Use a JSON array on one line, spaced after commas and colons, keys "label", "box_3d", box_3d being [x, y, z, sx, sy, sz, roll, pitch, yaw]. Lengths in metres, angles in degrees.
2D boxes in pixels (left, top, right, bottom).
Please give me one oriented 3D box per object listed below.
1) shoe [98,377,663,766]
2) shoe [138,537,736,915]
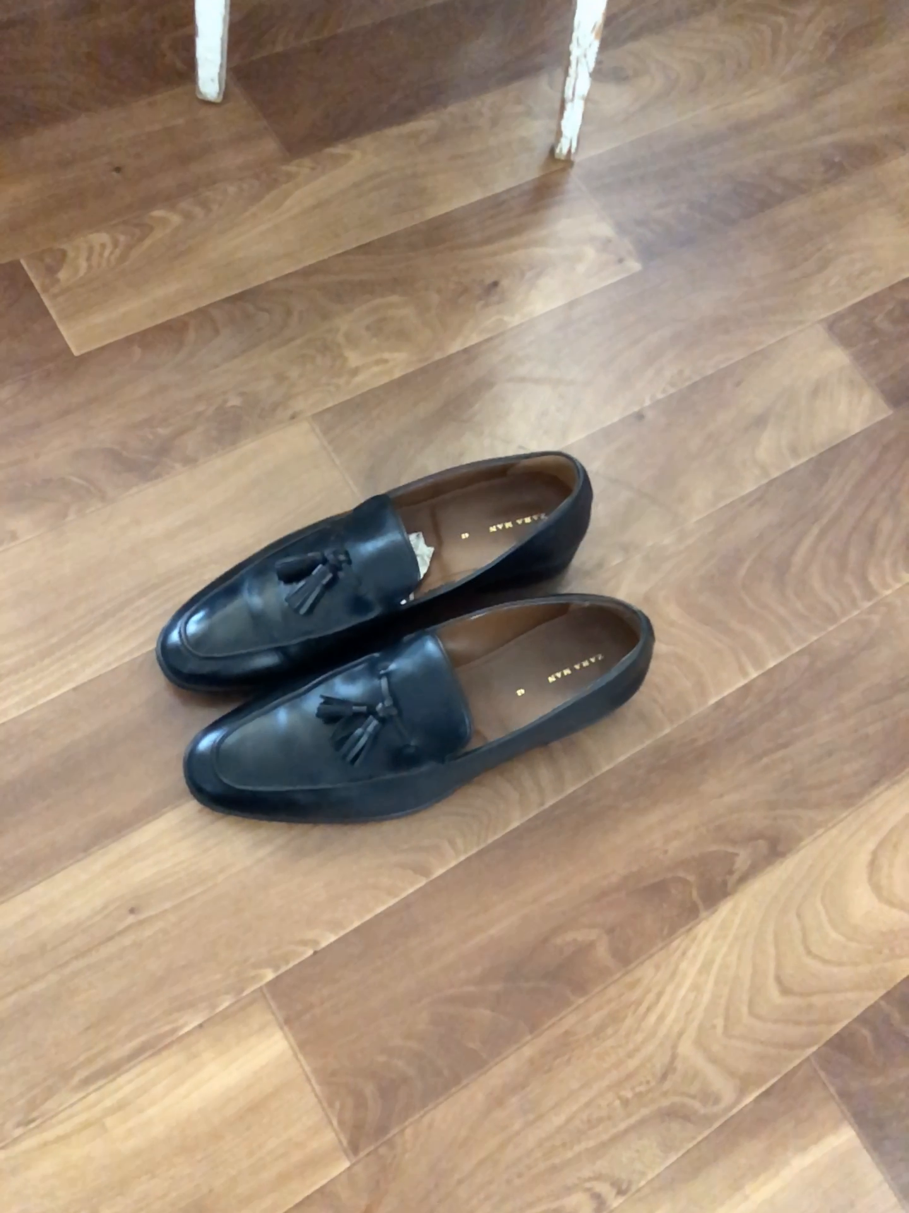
[{"label": "shoe", "box_3d": [-0.043, -0.022, 0.620, 0.300, 0.120, 0.110, -21, 73, -15]}, {"label": "shoe", "box_3d": [-0.011, 0.071, 0.587, 0.300, 0.120, 0.110, -16, 71, -14]}]
